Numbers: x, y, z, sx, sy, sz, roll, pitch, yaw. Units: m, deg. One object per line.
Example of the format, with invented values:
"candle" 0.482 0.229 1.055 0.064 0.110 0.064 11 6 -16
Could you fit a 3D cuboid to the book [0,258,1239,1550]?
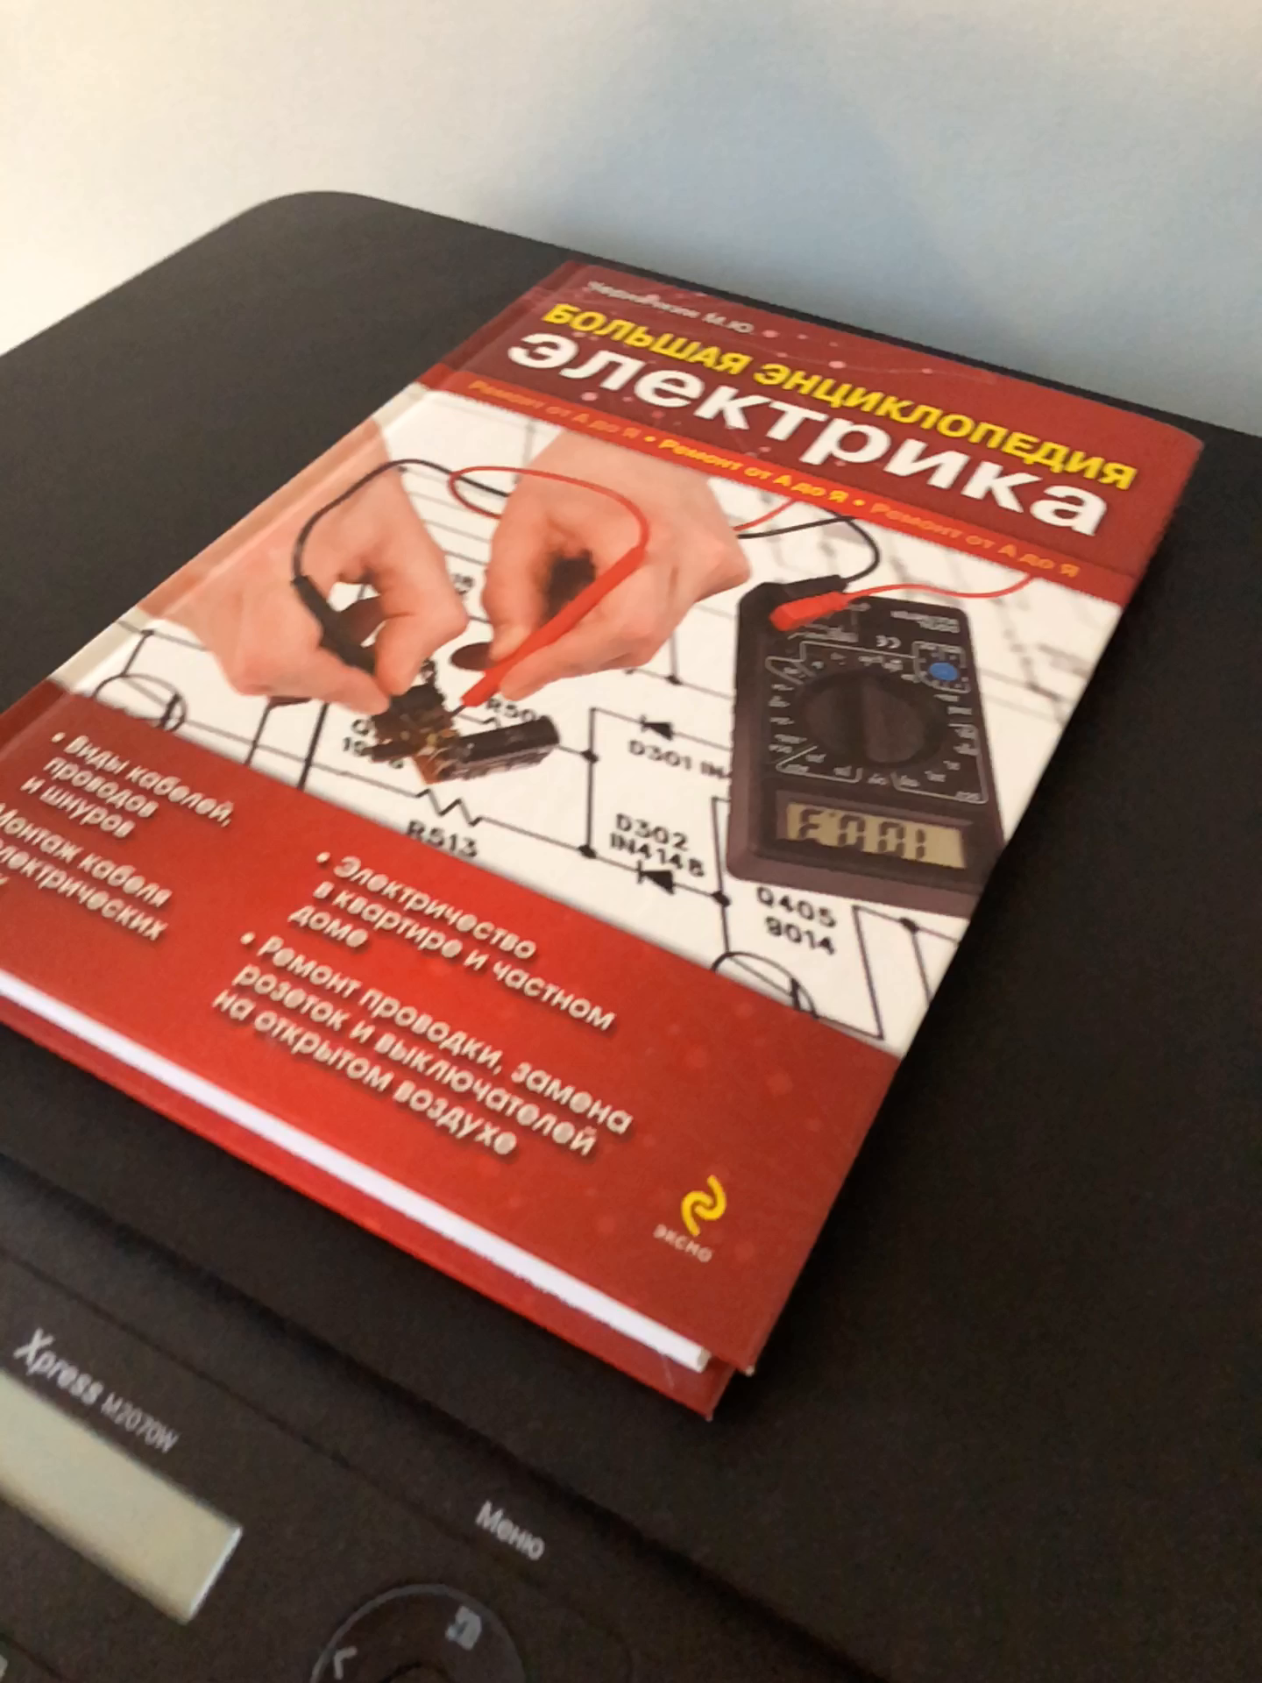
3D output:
"book" -0.001 -0.026 0.275 0.170 0.040 0.241 23 52 18
